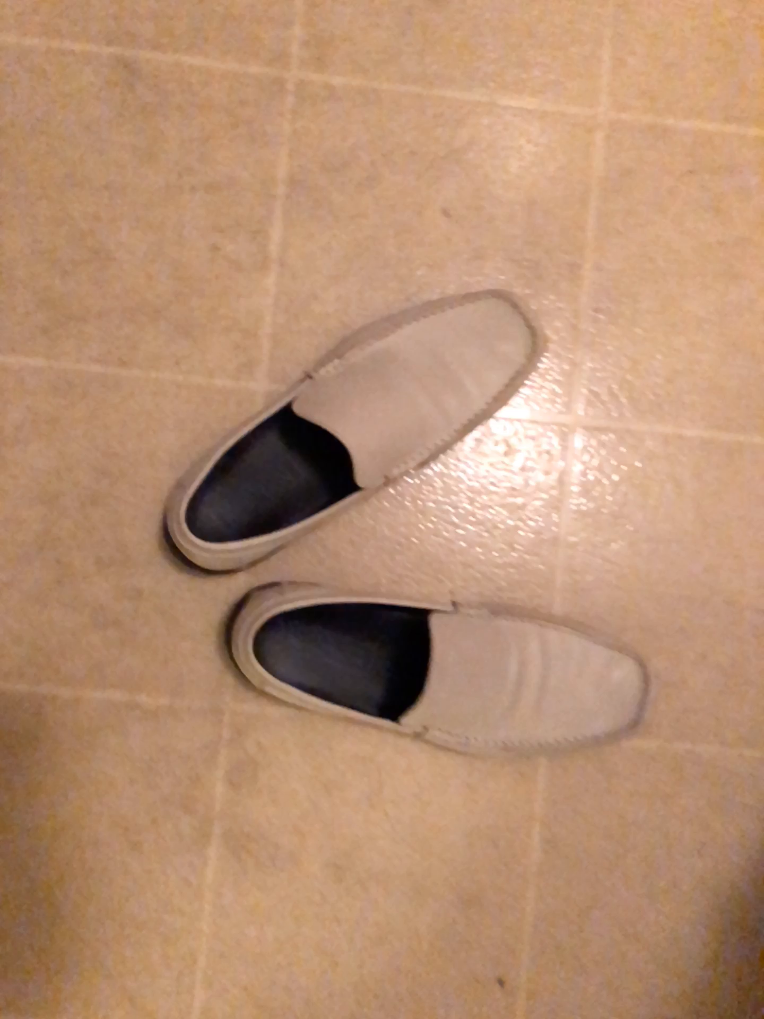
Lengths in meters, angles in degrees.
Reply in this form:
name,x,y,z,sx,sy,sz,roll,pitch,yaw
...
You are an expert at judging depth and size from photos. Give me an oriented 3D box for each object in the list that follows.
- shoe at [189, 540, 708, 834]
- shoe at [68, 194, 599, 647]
name,x,y,z,sx,sy,sz,roll,pitch,yaw
shoe,0.040,0.106,0.542,0.289,0.097,0.110,13,88,-2
shoe,-0.028,-0.053,0.545,0.306,0.097,0.110,-36,90,-3
